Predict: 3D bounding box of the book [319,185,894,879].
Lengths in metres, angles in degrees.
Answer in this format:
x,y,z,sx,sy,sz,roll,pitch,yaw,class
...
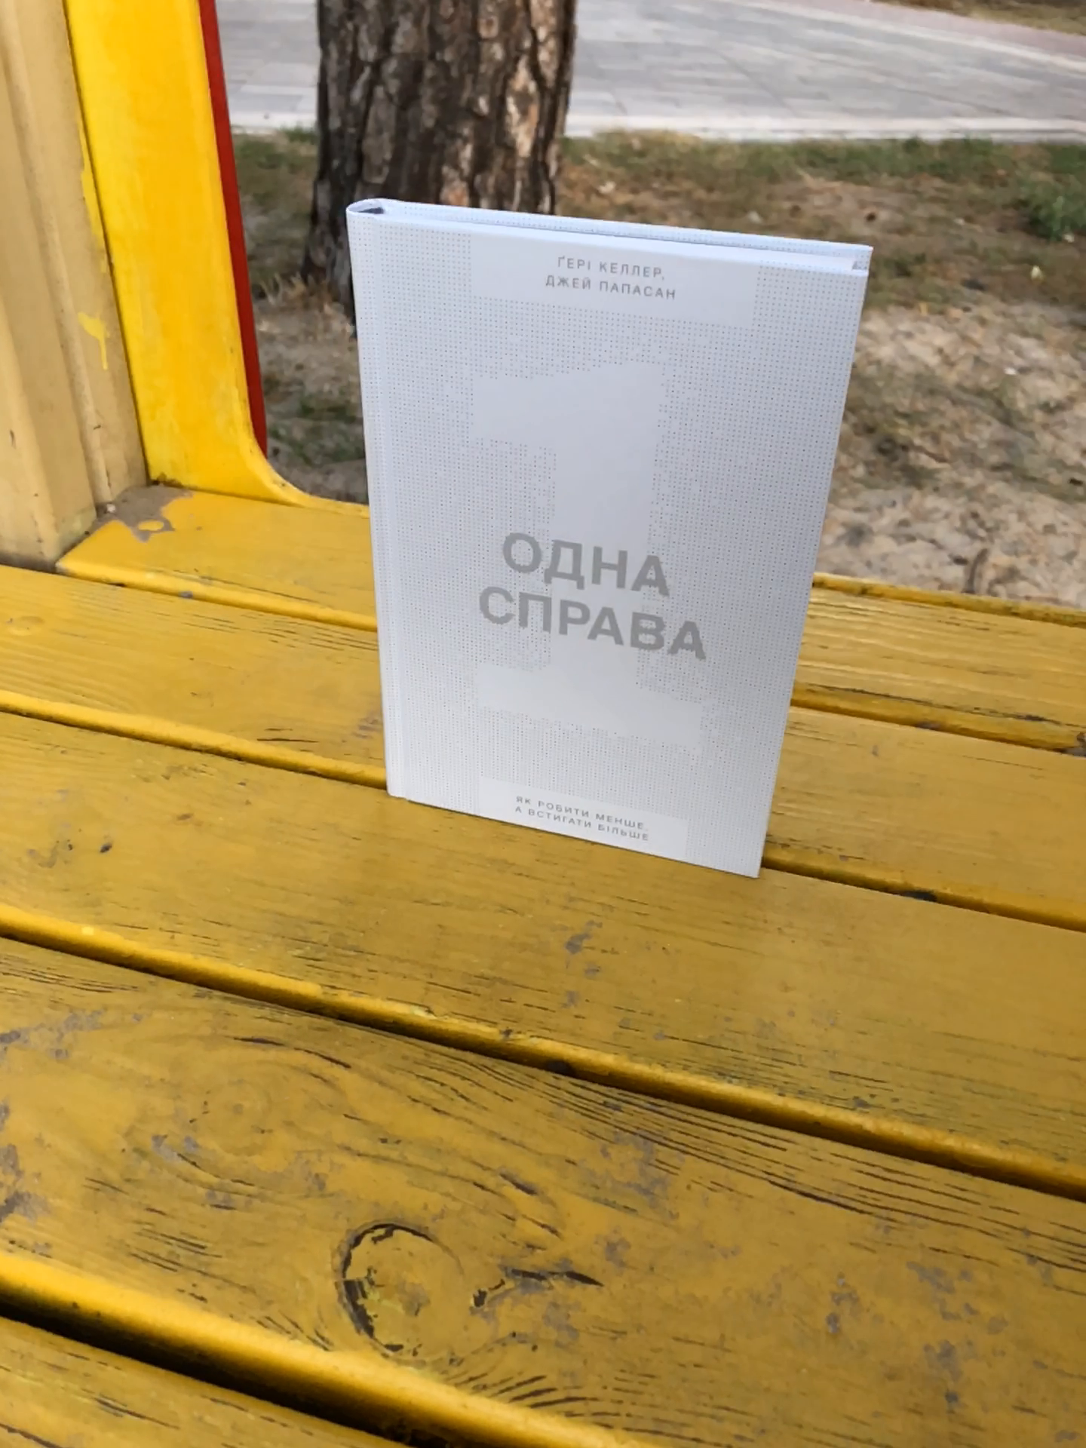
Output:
x,y,z,sx,sy,sz,roll,pitch,yaw,class
0.014,-0.052,0.388,0.154,0.208,0.030,12,38,13,book
